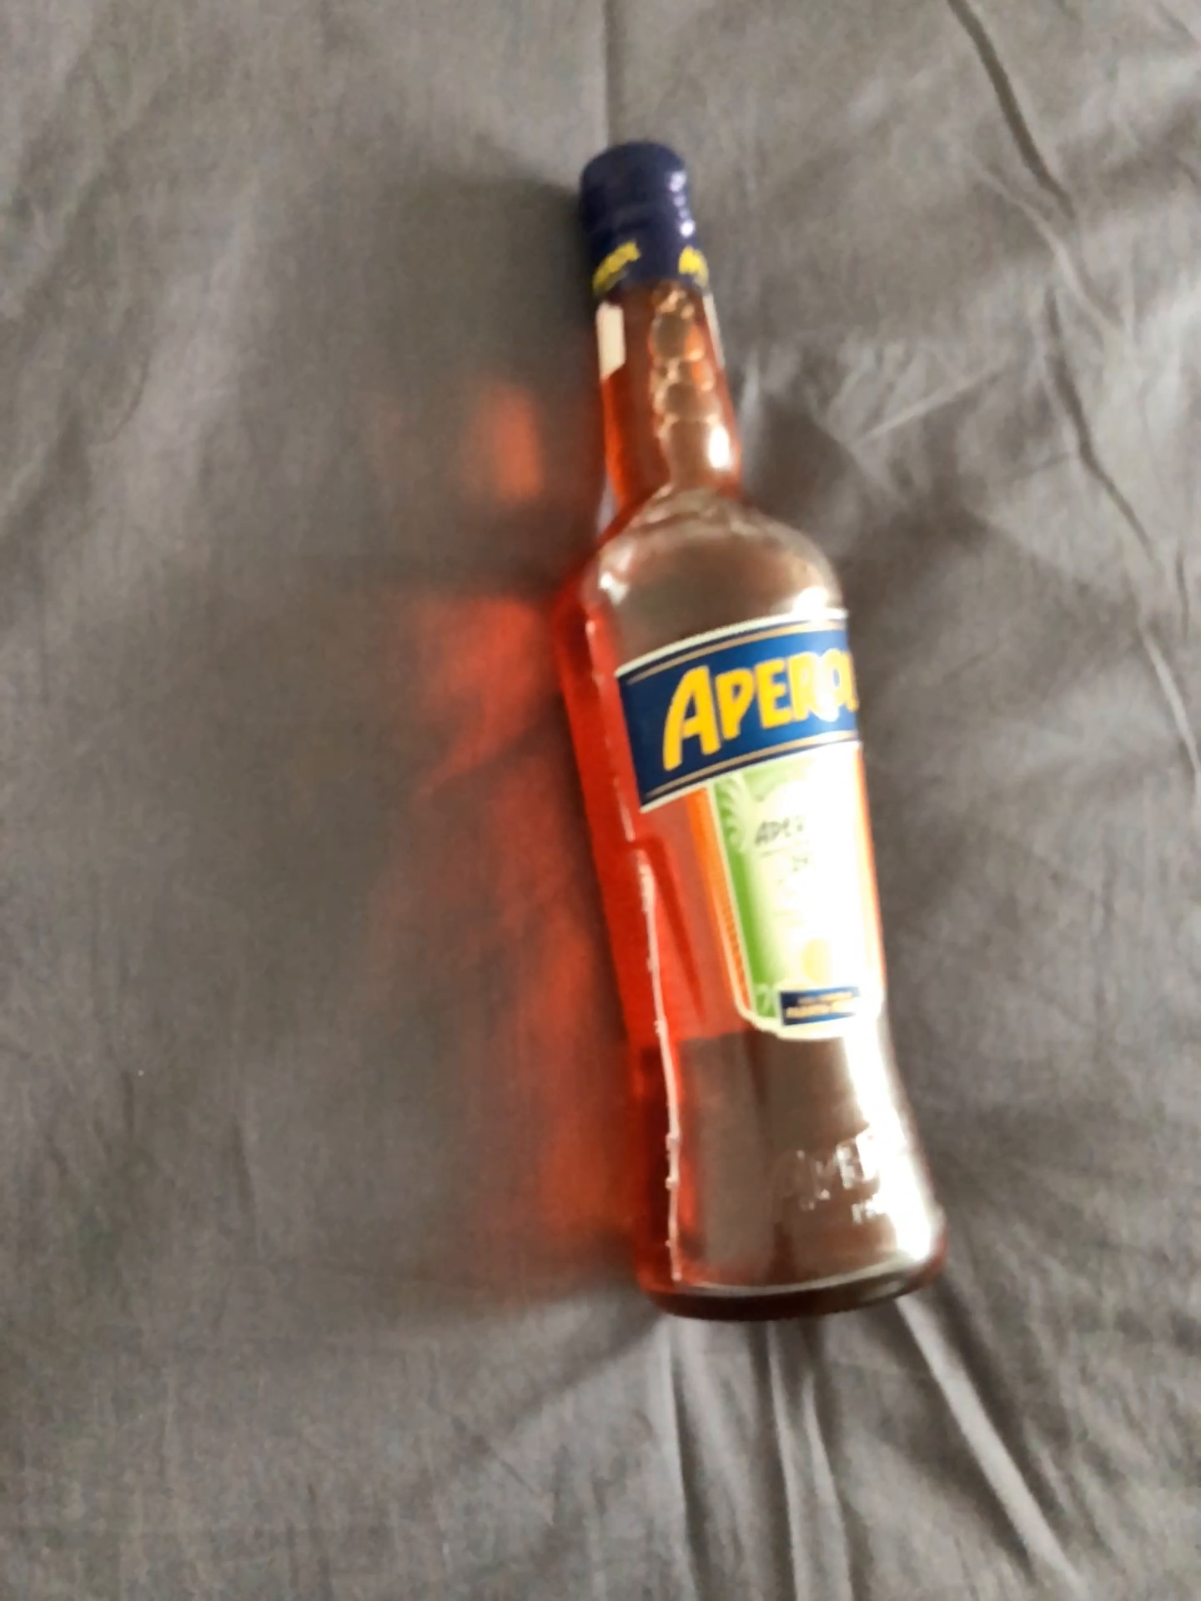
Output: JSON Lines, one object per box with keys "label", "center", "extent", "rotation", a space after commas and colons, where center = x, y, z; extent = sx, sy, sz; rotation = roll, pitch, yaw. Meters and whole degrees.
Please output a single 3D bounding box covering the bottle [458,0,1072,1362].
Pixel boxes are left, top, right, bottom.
{"label": "bottle", "center": [0.035, -0.036, 0.356], "extent": [0.100, 0.070, 0.320], "rotation": [-4, 81, -21]}
